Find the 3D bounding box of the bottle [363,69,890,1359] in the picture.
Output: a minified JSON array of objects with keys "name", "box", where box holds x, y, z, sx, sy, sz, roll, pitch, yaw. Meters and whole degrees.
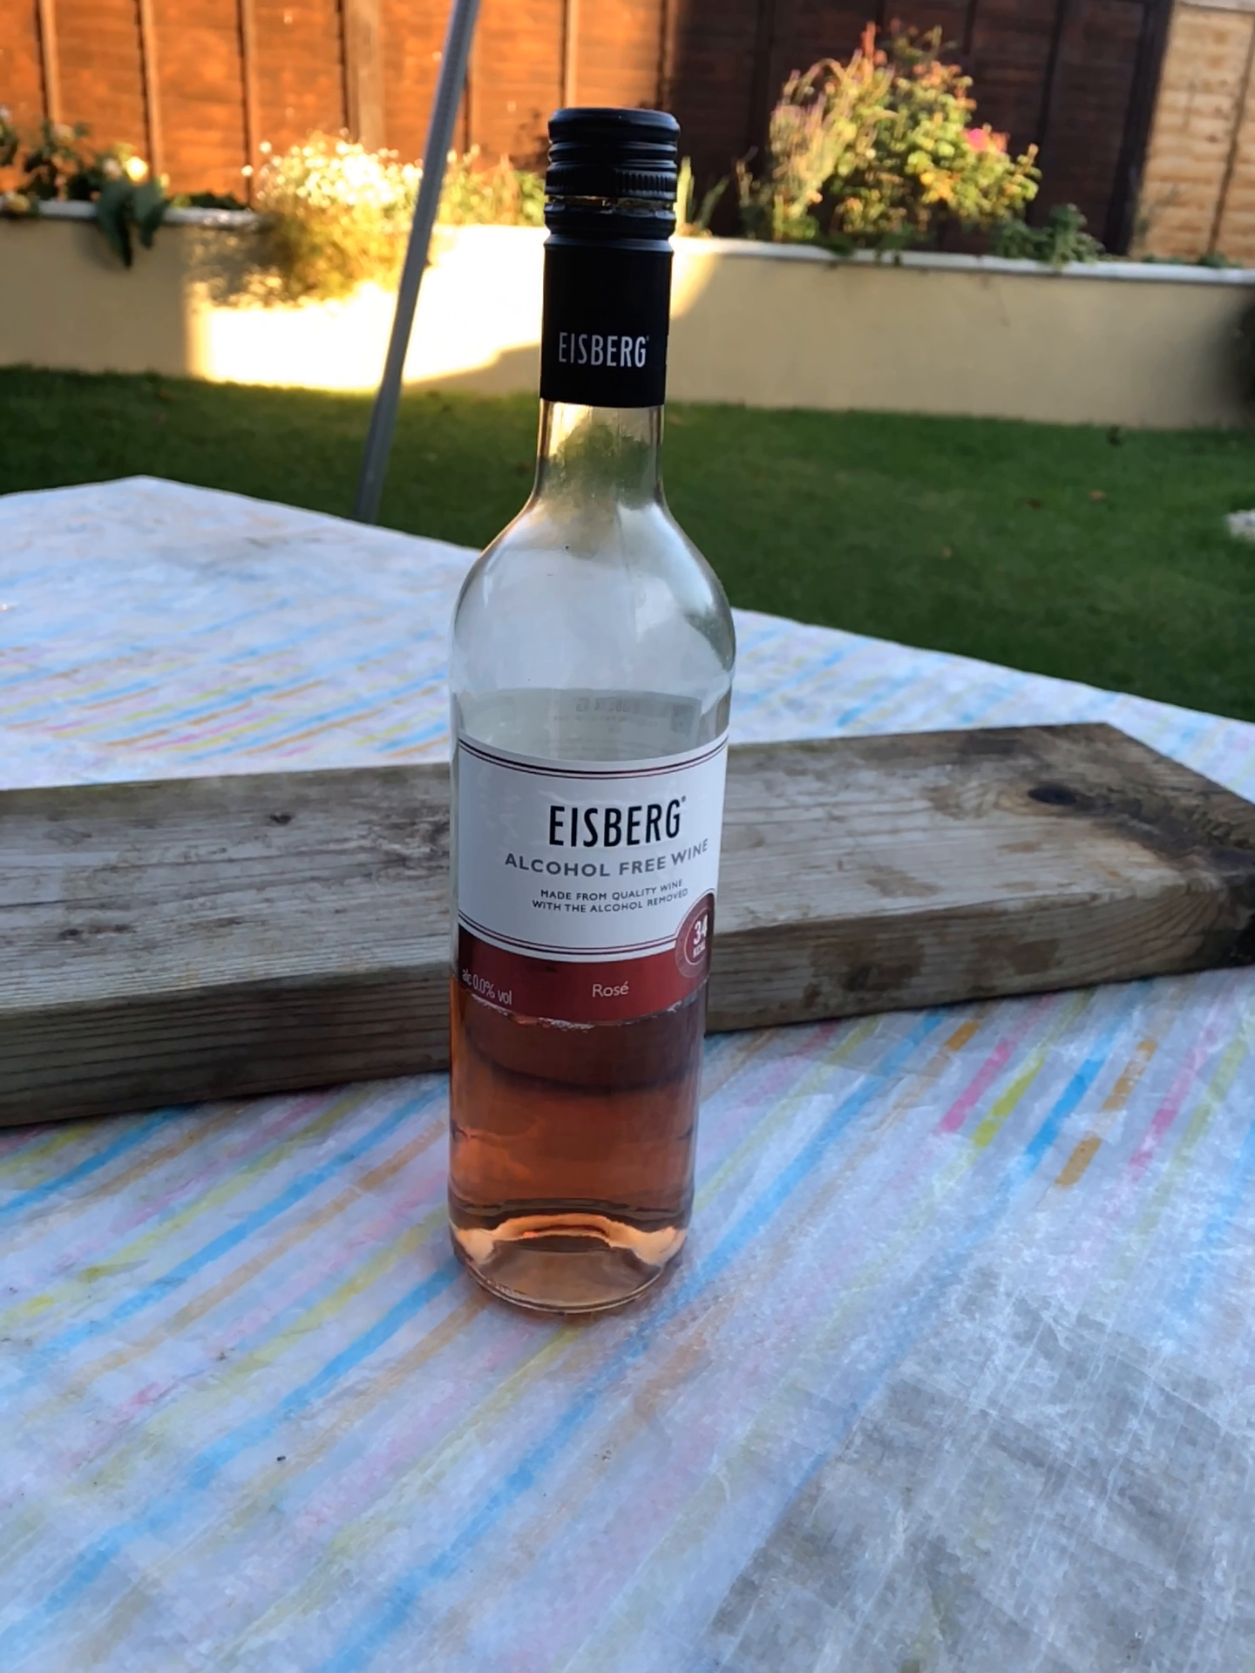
[{"name":"bottle","box":[-0.011,-0.020,0.344,0.090,0.288,0.080,-5,24,-17]}]
